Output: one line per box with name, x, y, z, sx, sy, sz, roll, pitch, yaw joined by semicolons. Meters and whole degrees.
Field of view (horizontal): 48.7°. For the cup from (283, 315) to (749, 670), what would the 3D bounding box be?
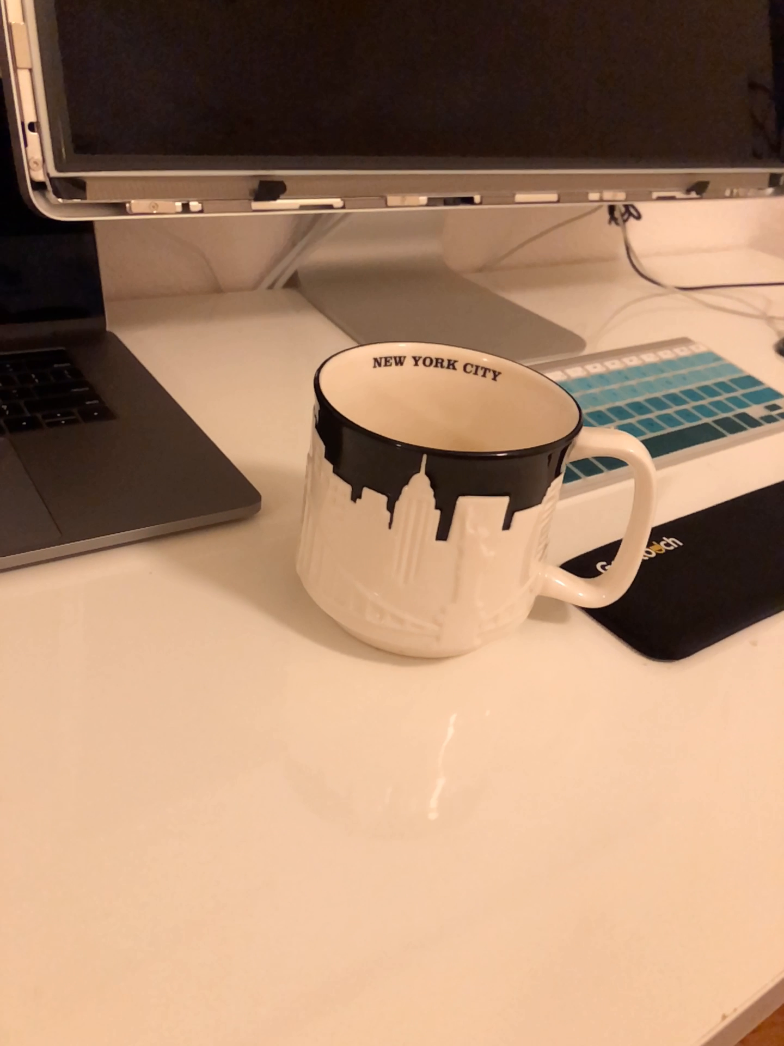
cup;0.035;-0.015;0.349;0.150;0.089;0.111;3;32;-8
